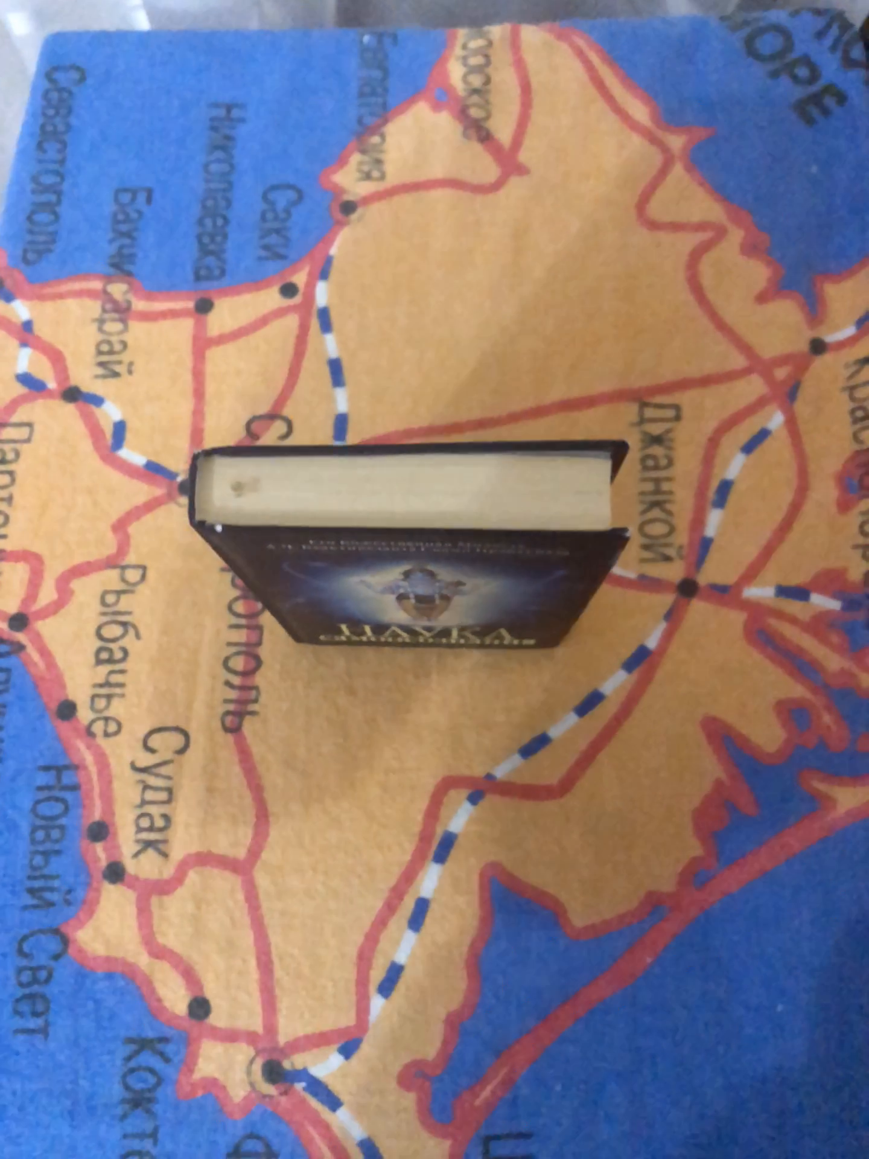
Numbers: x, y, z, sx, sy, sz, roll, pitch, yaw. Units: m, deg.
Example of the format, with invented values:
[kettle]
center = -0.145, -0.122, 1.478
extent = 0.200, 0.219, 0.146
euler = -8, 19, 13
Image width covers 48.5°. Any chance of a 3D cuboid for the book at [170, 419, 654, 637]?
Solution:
[book]
center = -0.006, -0.009, 0.383
extent = 0.140, 0.207, 0.030
euler = 0, 77, 1
